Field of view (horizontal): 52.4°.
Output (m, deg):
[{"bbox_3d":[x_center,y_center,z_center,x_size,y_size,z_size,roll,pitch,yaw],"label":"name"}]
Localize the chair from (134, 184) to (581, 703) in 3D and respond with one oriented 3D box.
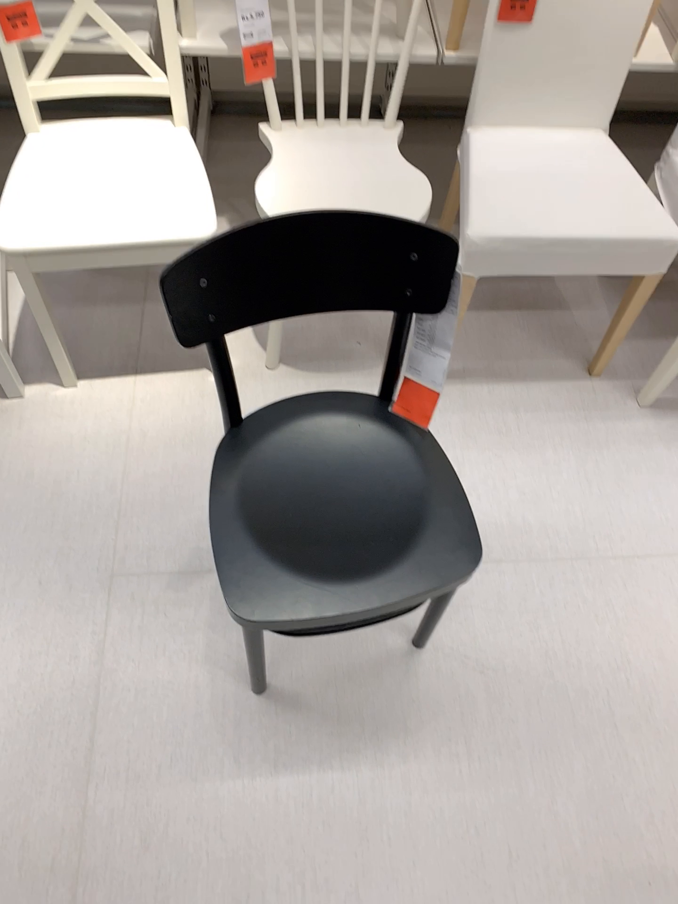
[{"bbox_3d":[-0.026,0.050,1.166,0.430,0.768,0.471,-12,60,-11],"label":"chair"}]
